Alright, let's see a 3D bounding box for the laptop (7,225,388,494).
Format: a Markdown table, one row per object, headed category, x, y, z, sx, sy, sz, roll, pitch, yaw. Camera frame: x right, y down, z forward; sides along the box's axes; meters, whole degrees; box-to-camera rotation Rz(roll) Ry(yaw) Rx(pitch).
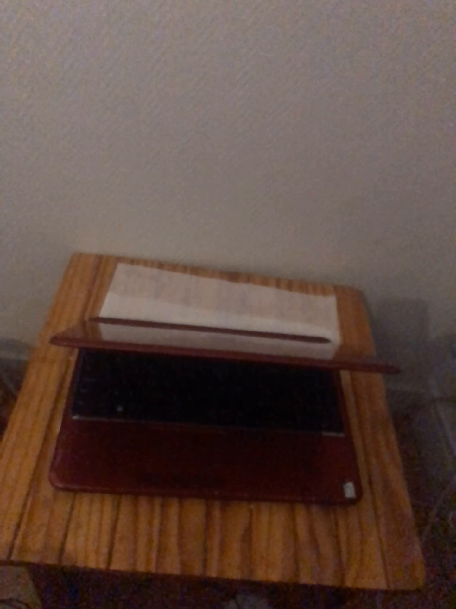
| category | x | y | z | sx | sy | sz | roll | pitch | yaw |
| --- | --- | --- | --- | --- | --- | --- | --- | --- | --- |
| laptop | -0.031 | 0.070 | 0.638 | 0.372 | 0.168 | 0.254 | 6 | 44 | -11 |
